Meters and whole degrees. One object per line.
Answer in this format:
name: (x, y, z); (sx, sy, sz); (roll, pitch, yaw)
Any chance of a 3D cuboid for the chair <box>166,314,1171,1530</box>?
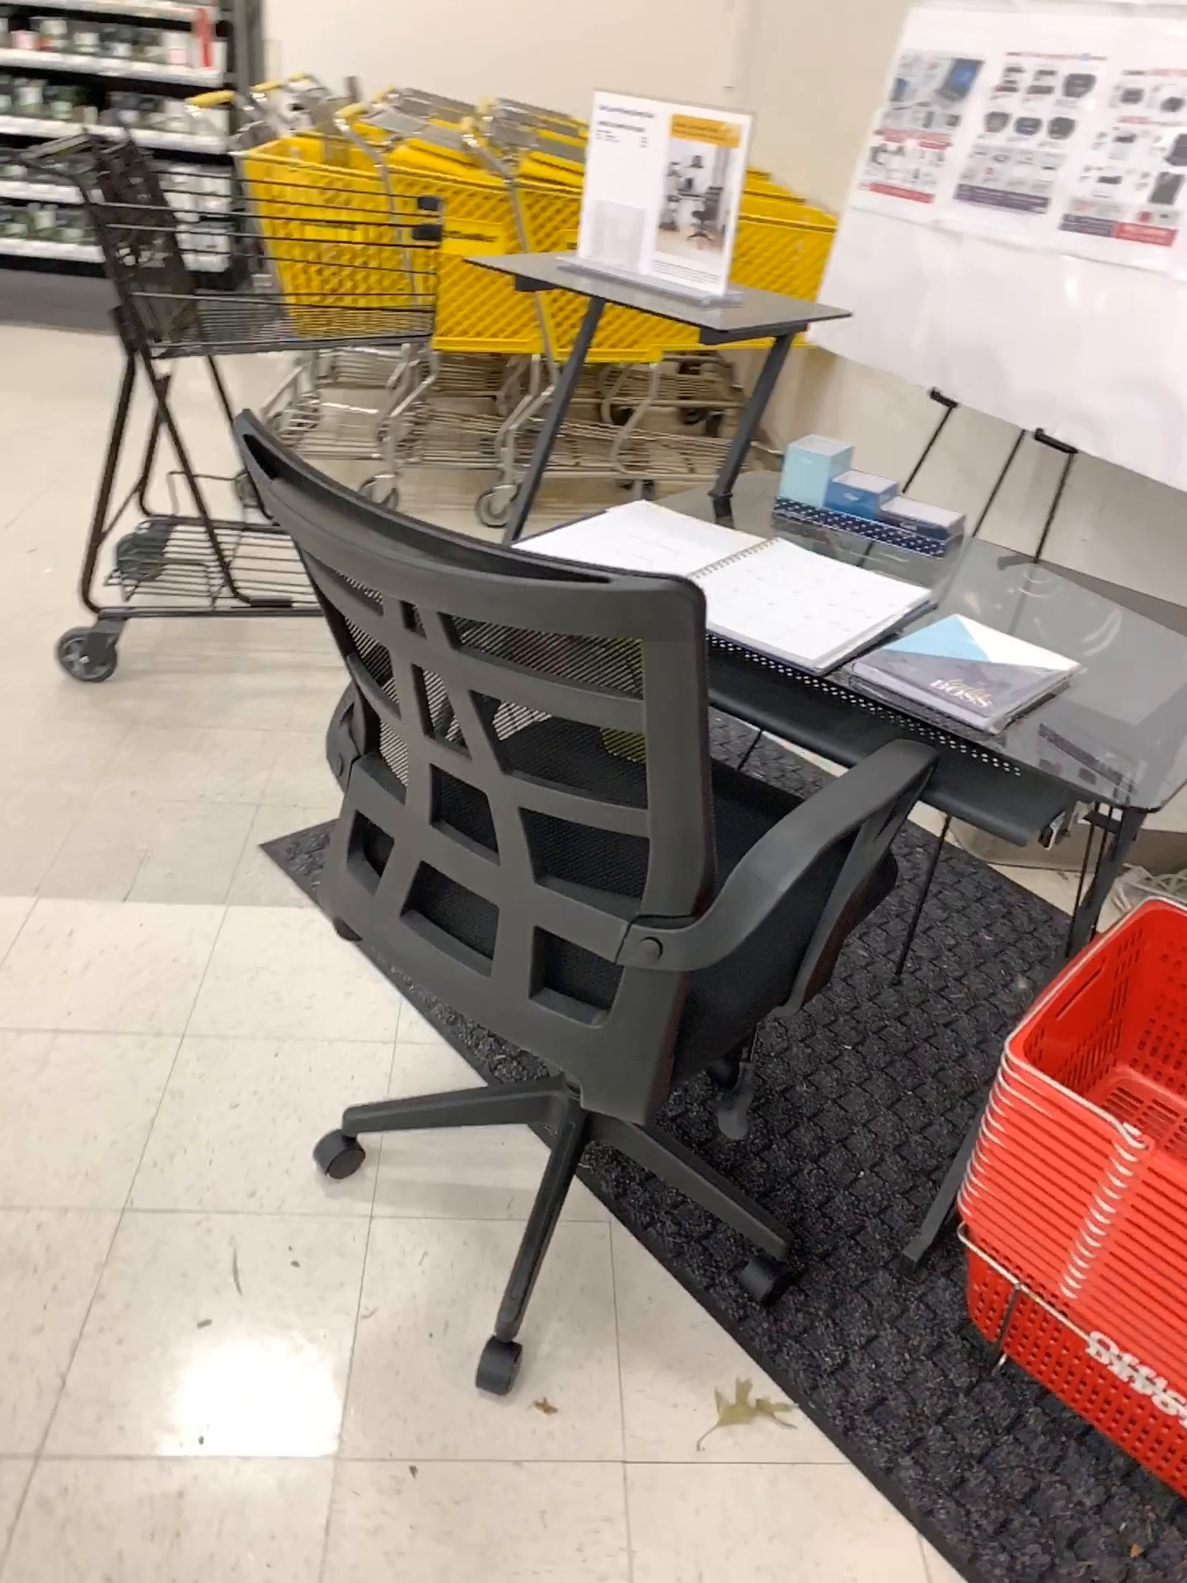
chair: (0.060, 0.068, 1.318); (0.615, 0.942, 0.696); (26, 36, 29)
